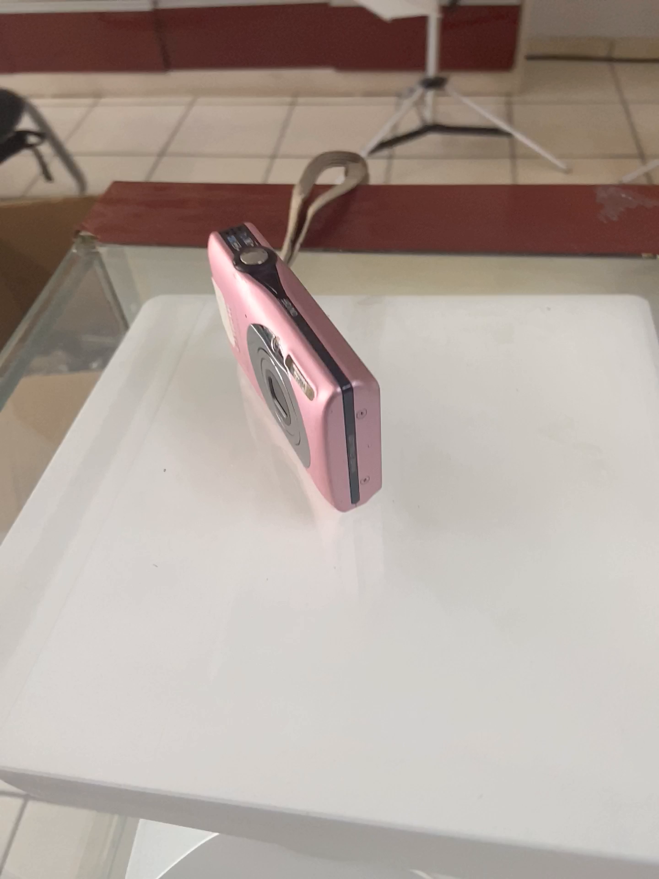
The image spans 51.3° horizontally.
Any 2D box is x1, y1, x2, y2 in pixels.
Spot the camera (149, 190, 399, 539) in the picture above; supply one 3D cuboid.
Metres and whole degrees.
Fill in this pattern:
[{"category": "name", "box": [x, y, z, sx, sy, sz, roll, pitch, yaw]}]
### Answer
[{"category": "camera", "box": [-0.019, -0.026, 0.211, 0.030, 0.050, 0.100, -24, 54, -15]}]
